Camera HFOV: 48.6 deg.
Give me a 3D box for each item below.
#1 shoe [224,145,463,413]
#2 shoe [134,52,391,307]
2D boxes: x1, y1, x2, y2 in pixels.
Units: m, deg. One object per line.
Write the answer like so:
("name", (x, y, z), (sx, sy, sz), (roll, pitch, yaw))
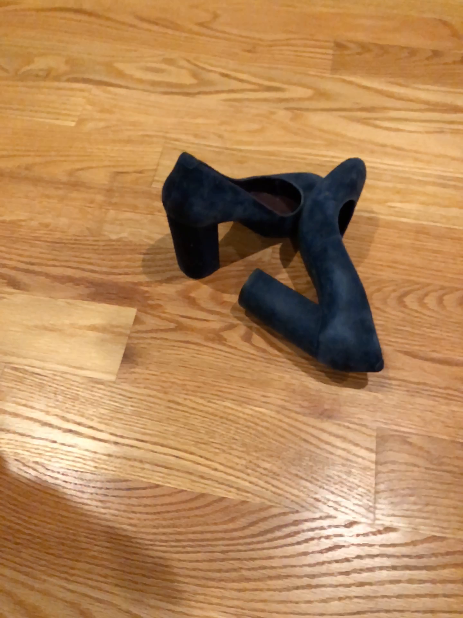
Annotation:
("shoe", (0.116, -0.036, 0.494), (0.152, 0.080, 0.205), (35, 65, 17))
("shoe", (0.031, -0.126, 0.510), (0.226, 0.146, 0.080), (-34, 66, -19))
